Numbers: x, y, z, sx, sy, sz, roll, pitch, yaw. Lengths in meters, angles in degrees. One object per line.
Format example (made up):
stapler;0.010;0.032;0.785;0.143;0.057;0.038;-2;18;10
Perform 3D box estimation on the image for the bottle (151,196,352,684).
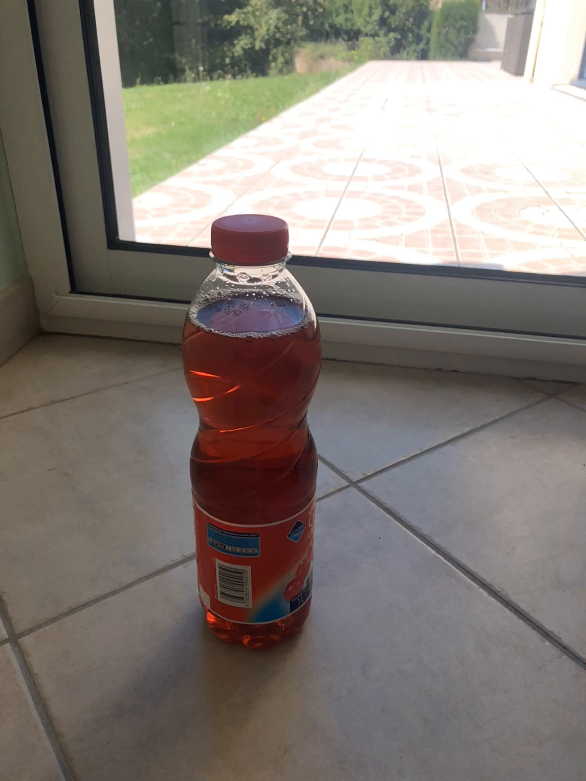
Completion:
bottle;-0.018;0.035;0.358;0.080;0.258;0.091;2;28;0
